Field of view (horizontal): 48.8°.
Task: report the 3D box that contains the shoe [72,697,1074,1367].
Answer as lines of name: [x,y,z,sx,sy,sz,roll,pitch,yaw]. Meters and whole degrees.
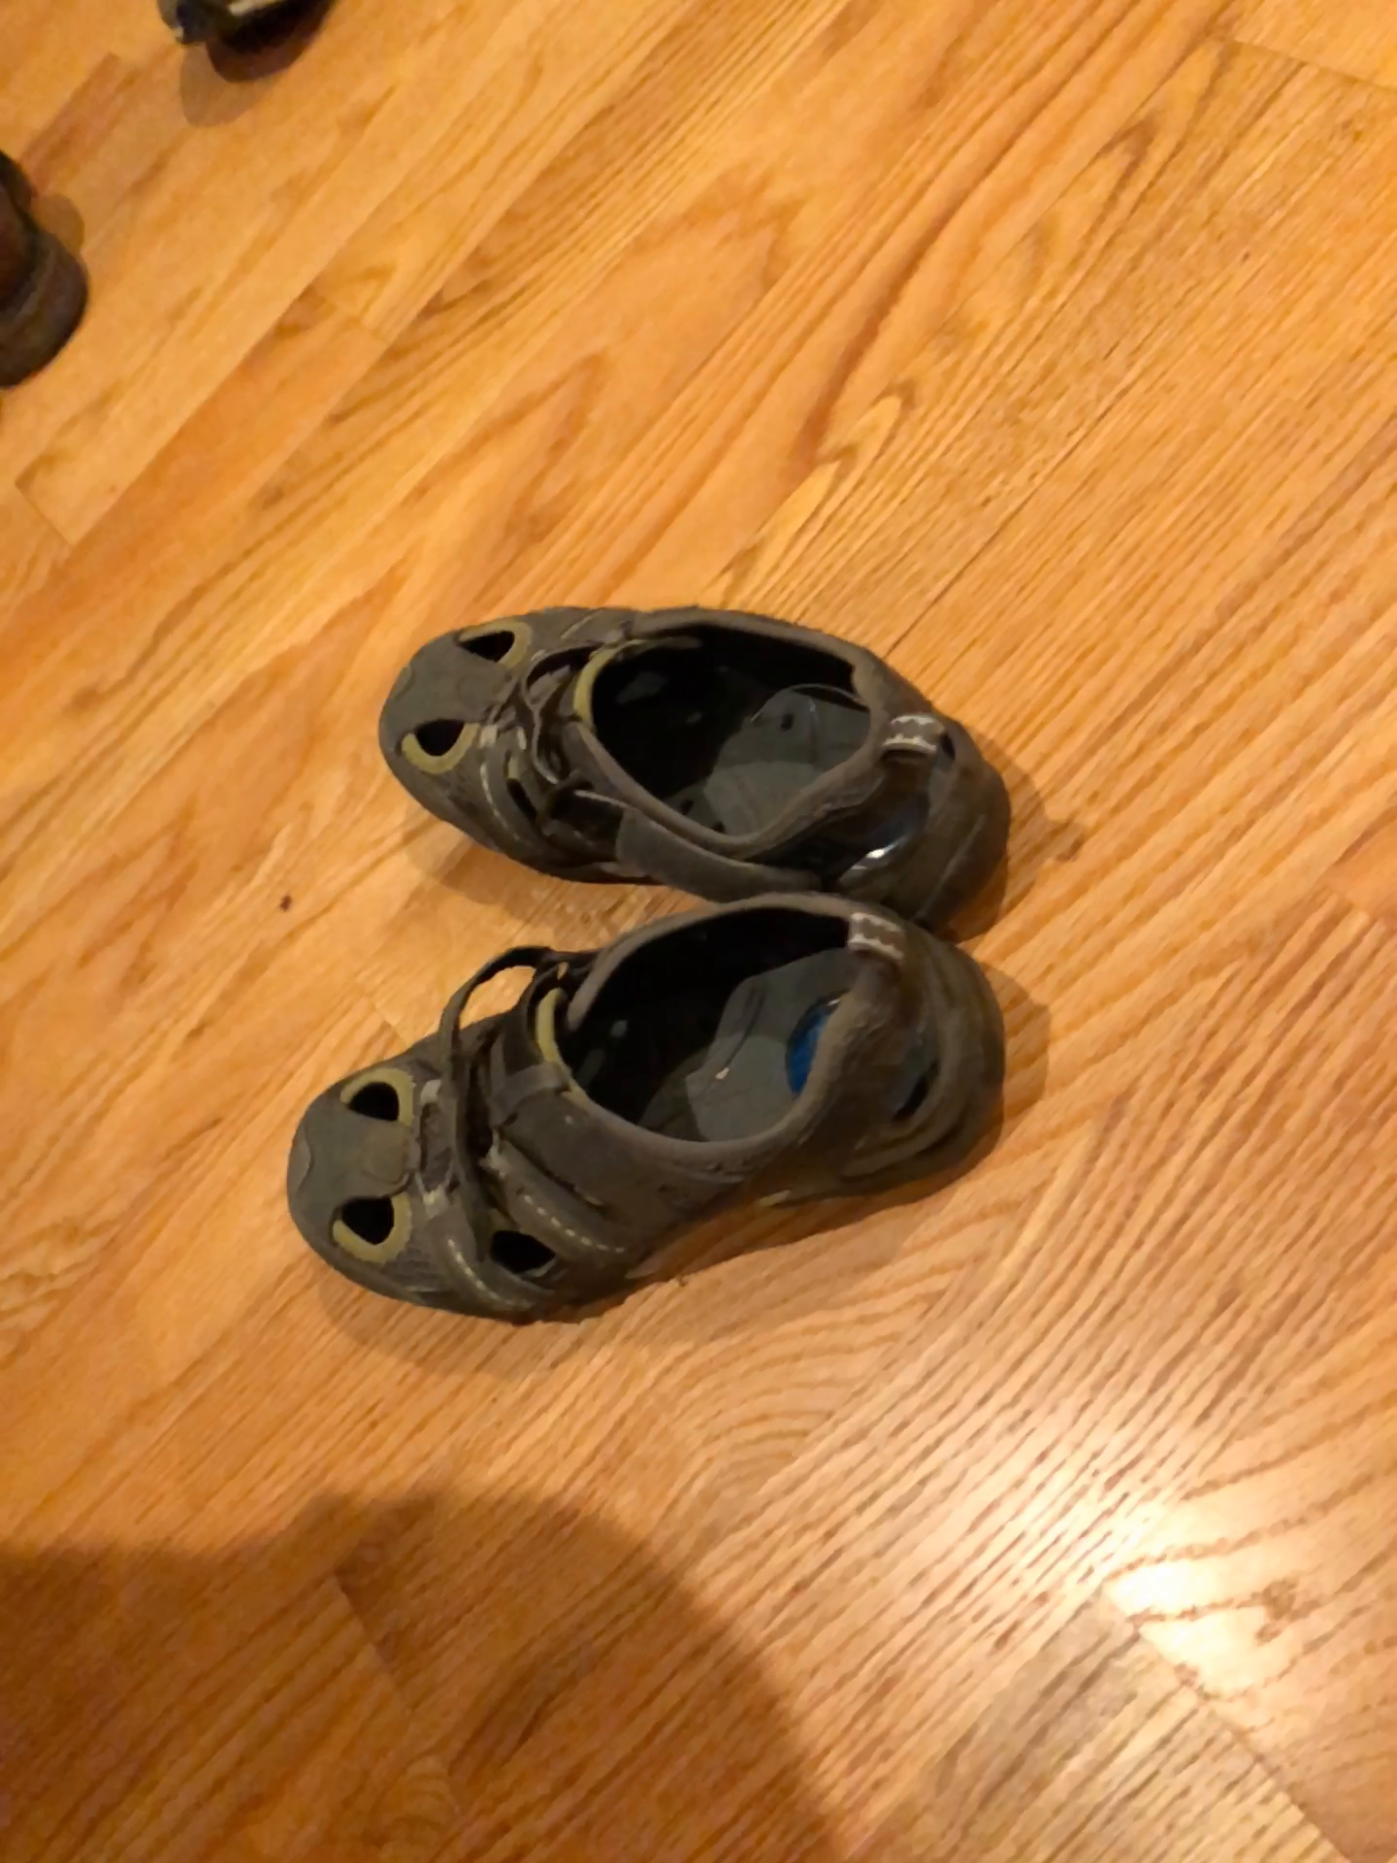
shoe: [-0.038,0.043,0.436,0.245,0.113,0.100,-17,61,21]

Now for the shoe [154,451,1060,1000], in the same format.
shoe: [-0.031,-0.071,0.487,0.246,0.113,0.100,14,75,32]
